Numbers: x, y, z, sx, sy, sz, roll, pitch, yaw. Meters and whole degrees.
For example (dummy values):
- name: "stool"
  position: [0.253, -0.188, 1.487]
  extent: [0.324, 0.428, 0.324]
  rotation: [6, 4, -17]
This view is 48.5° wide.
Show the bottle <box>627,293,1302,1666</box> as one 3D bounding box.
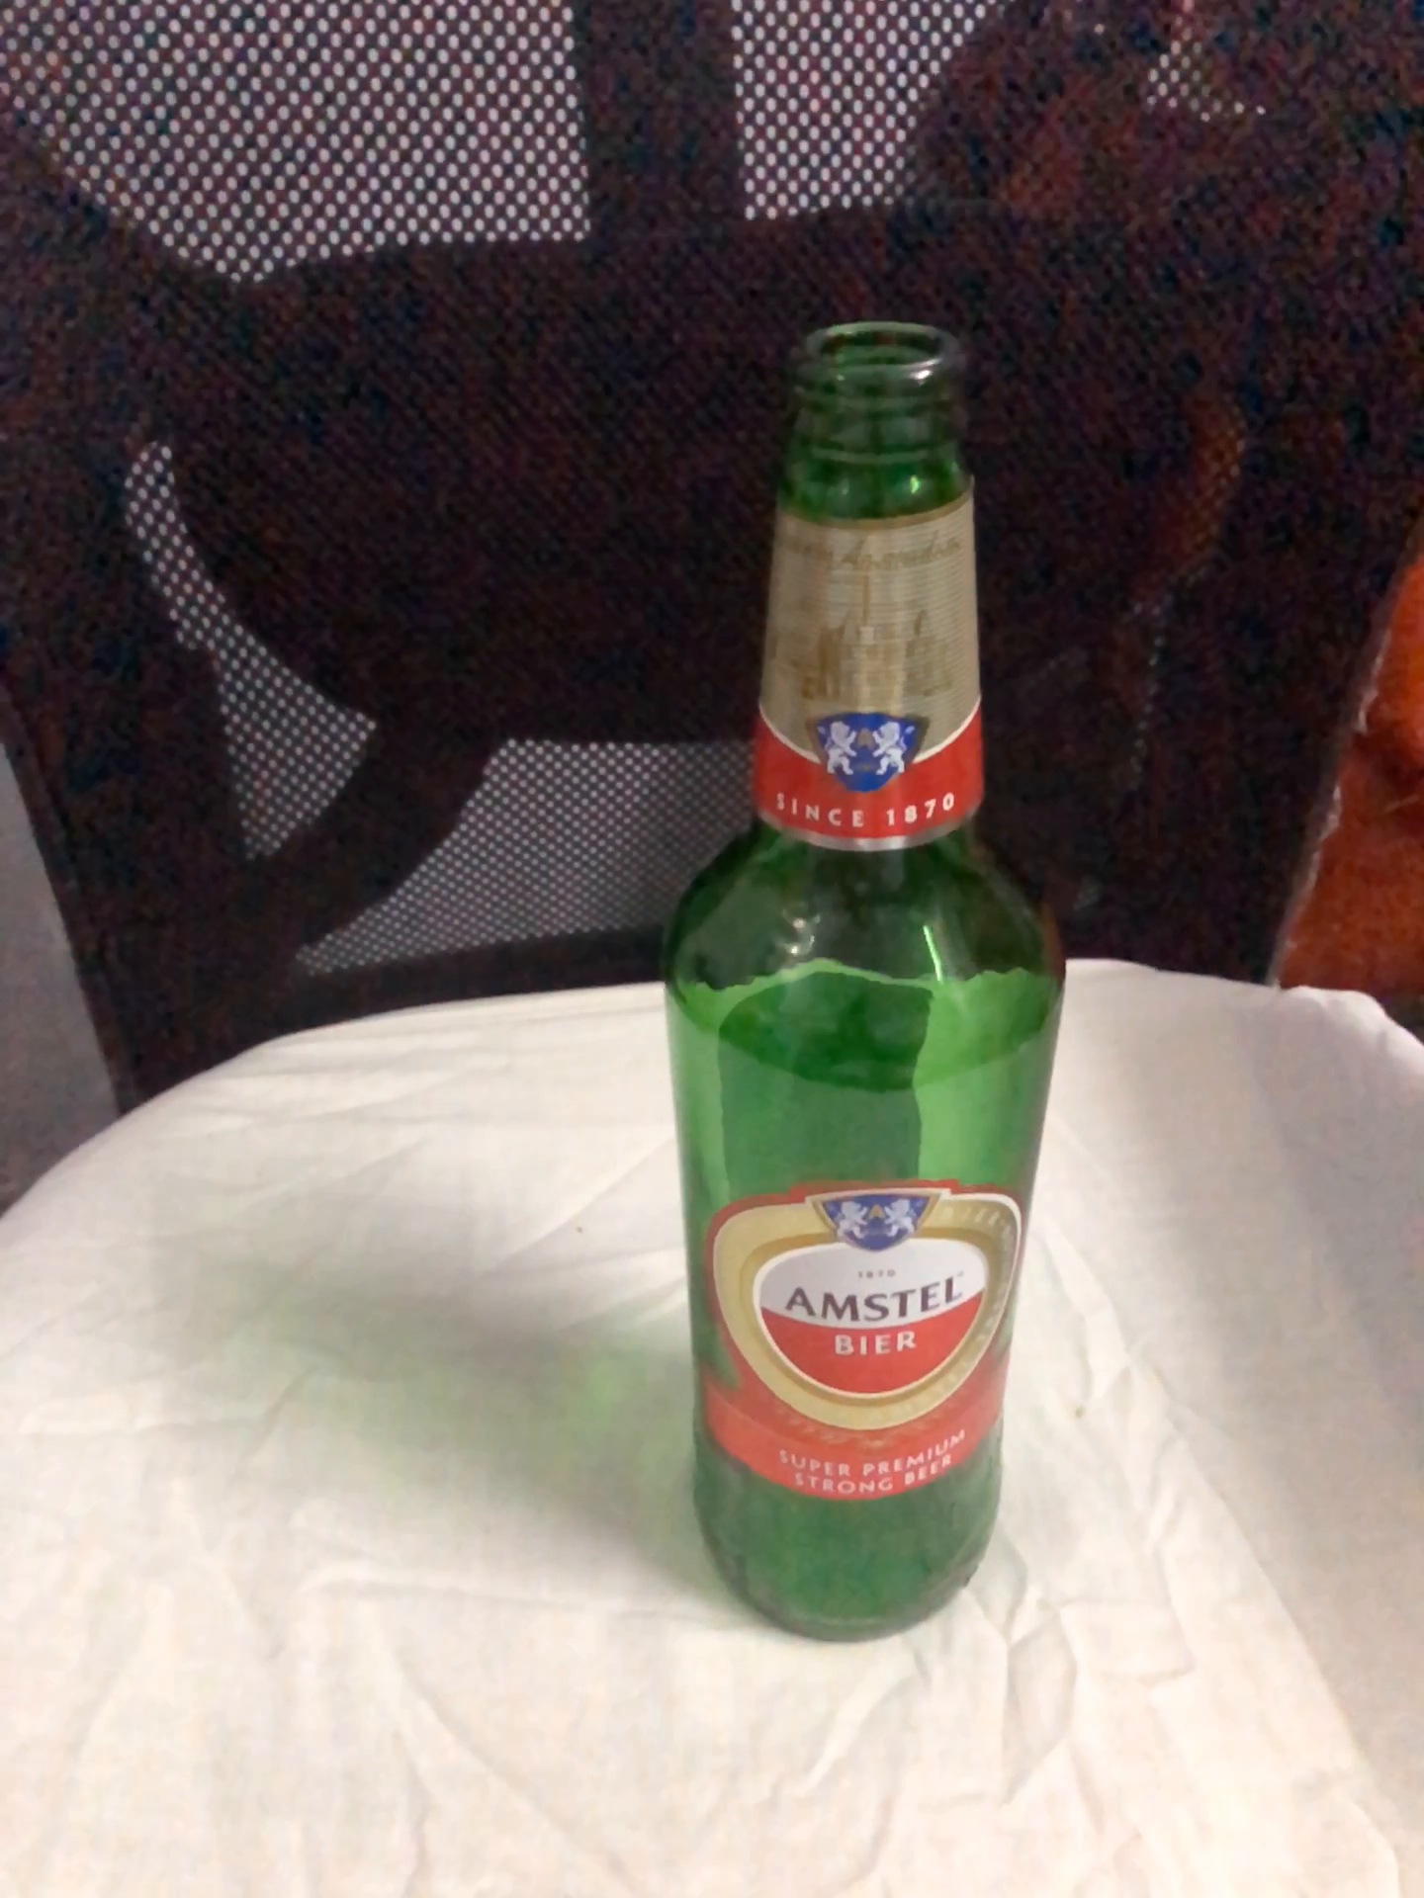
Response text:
- name: "bottle"
  position: [0.028, 0.031, 0.299]
  extent: [0.080, 0.279, 0.060]
  rotation: [-3, 37, -5]
